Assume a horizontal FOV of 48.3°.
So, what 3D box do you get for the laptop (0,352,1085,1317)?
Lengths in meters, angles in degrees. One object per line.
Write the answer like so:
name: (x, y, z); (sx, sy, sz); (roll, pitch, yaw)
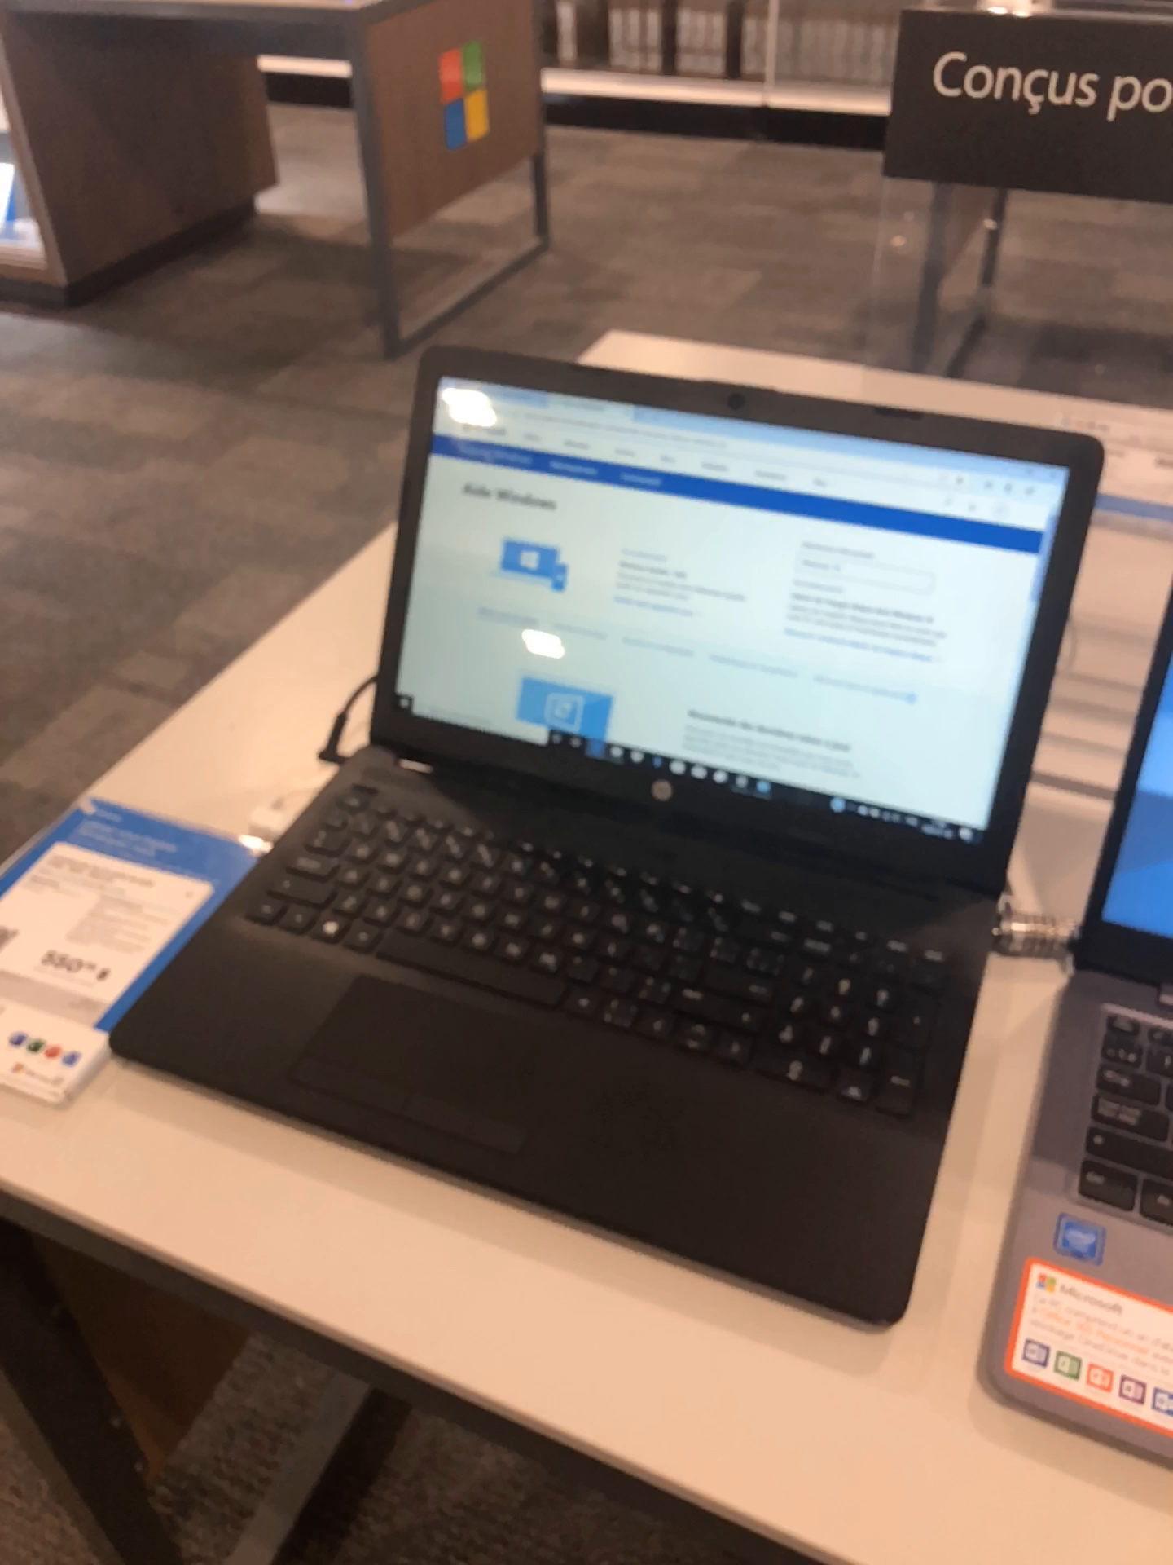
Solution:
laptop: (0.007, -0.024, 0.611); (0.356, 0.195, 0.360); (13, 41, 19)
